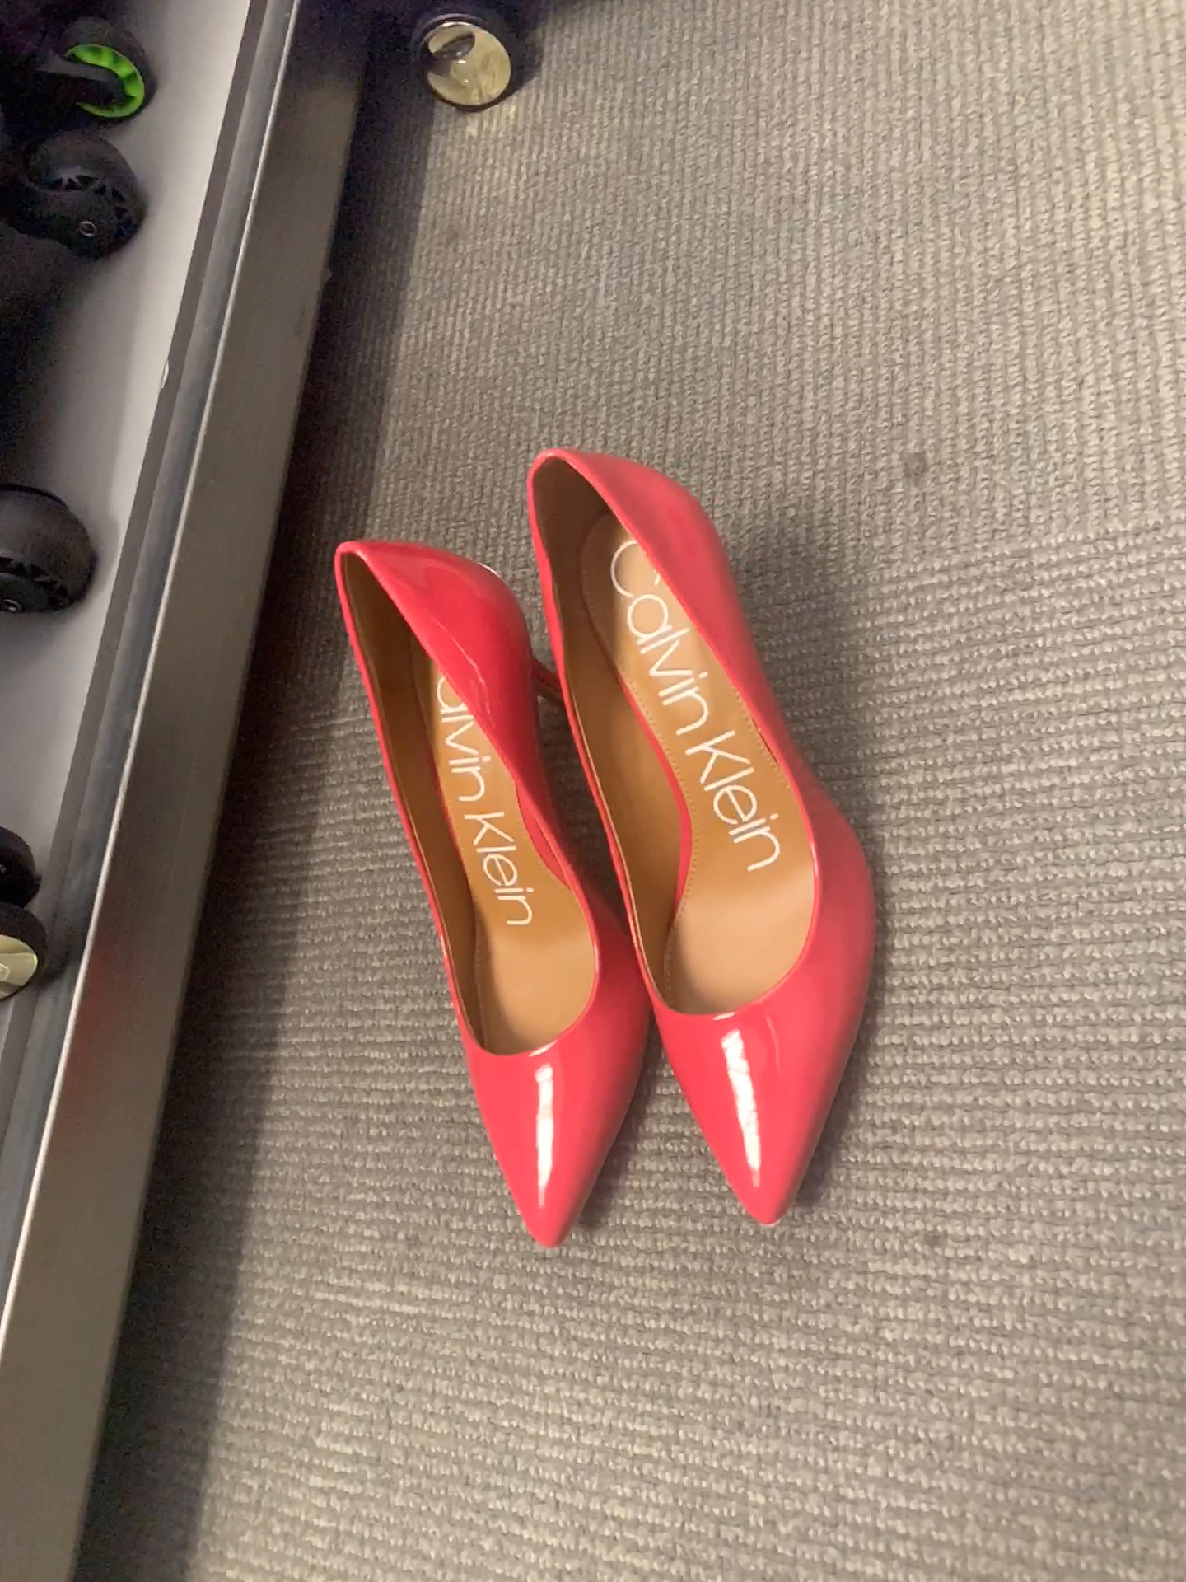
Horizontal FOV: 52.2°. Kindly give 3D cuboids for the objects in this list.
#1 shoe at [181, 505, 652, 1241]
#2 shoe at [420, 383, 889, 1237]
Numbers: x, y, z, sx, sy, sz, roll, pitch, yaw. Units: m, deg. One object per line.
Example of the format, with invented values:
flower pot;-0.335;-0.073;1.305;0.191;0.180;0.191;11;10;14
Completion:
shoe;-0.051;0.036;0.403;0.074;0.130;0.208;-15;65;28
shoe;0.017;0.014;0.358;0.074;0.121;0.216;-15;65;28
